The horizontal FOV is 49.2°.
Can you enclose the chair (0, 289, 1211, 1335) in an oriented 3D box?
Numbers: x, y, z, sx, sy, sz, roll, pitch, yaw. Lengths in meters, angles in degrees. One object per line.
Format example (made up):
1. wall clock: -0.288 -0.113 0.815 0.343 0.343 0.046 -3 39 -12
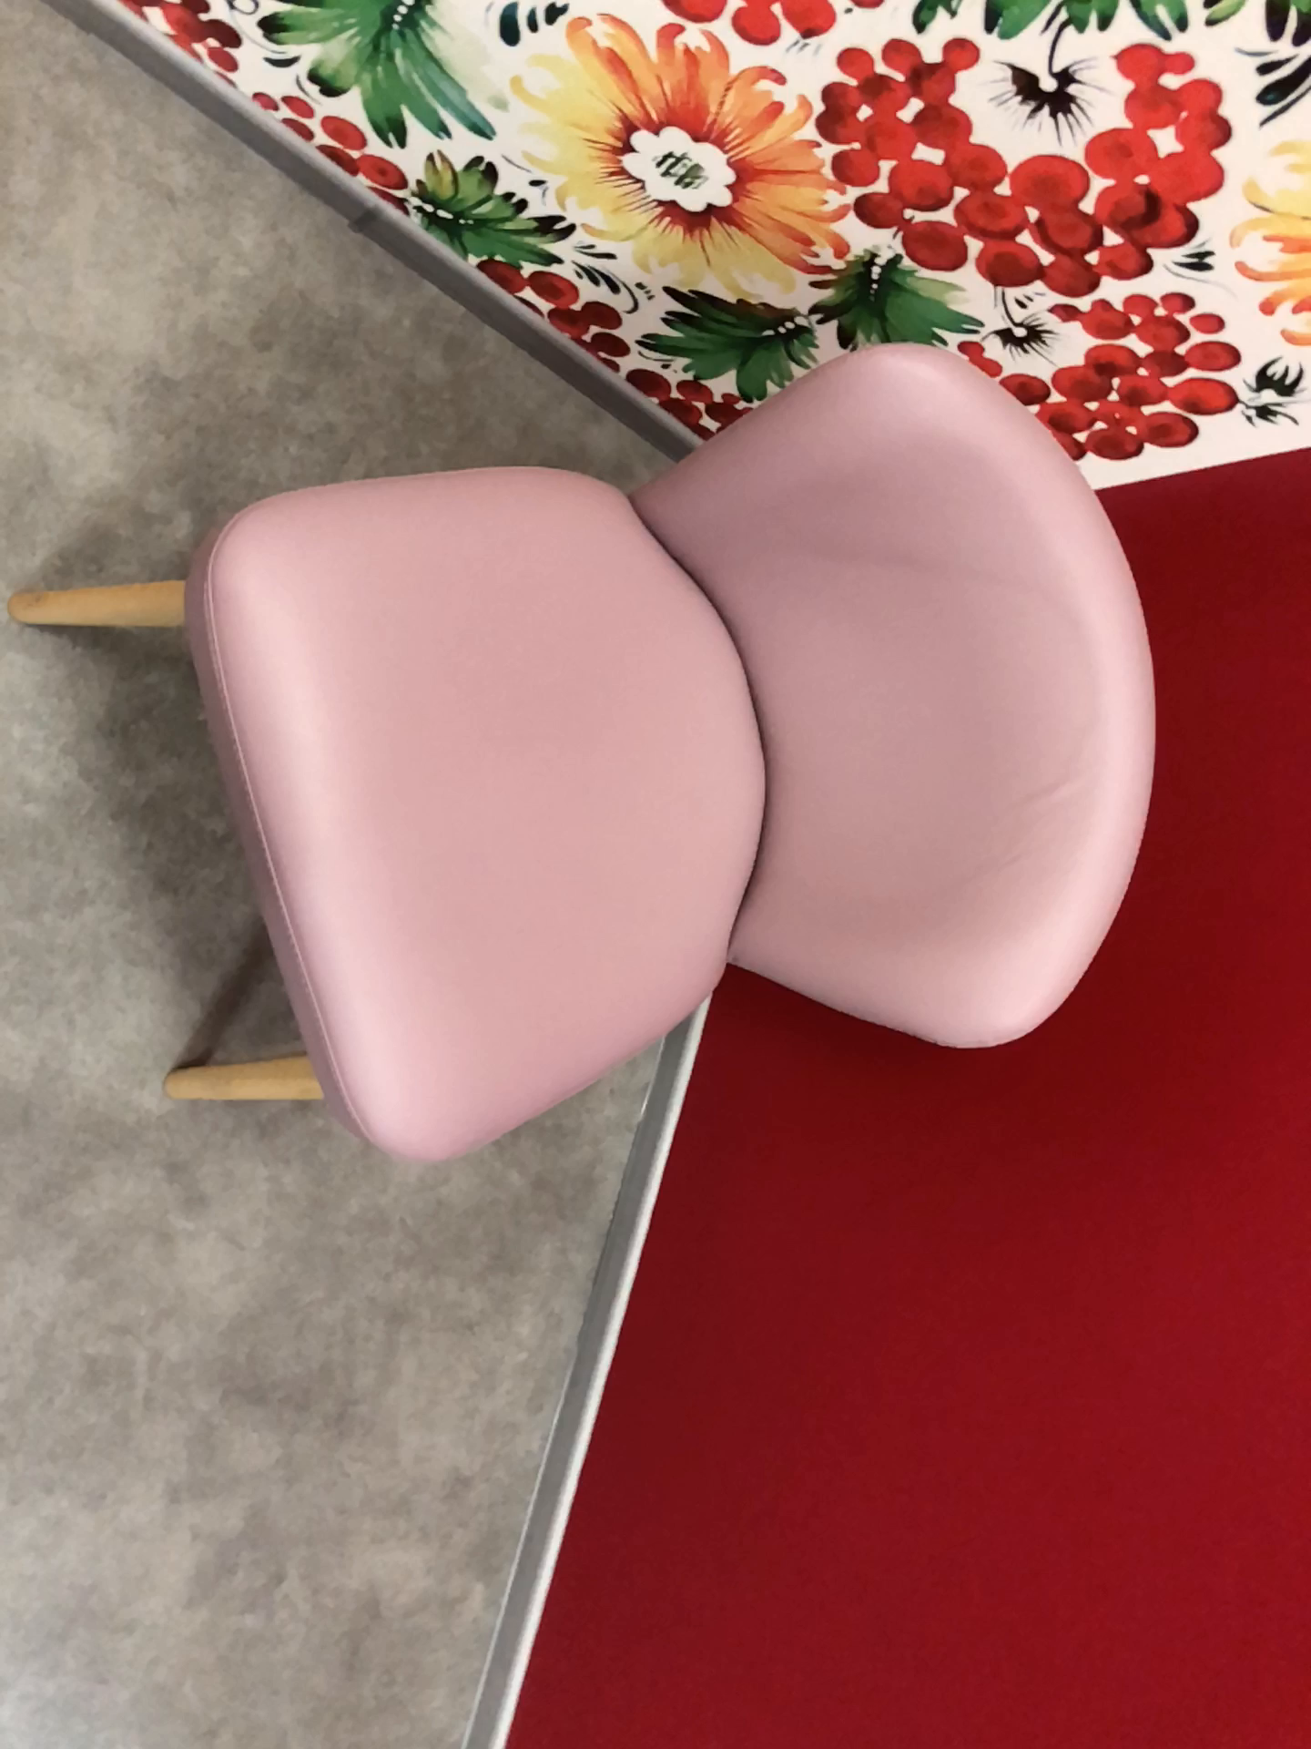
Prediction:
1. chair: -0.082 -0.085 1.185 0.542 0.786 0.510 -24 106 -37
